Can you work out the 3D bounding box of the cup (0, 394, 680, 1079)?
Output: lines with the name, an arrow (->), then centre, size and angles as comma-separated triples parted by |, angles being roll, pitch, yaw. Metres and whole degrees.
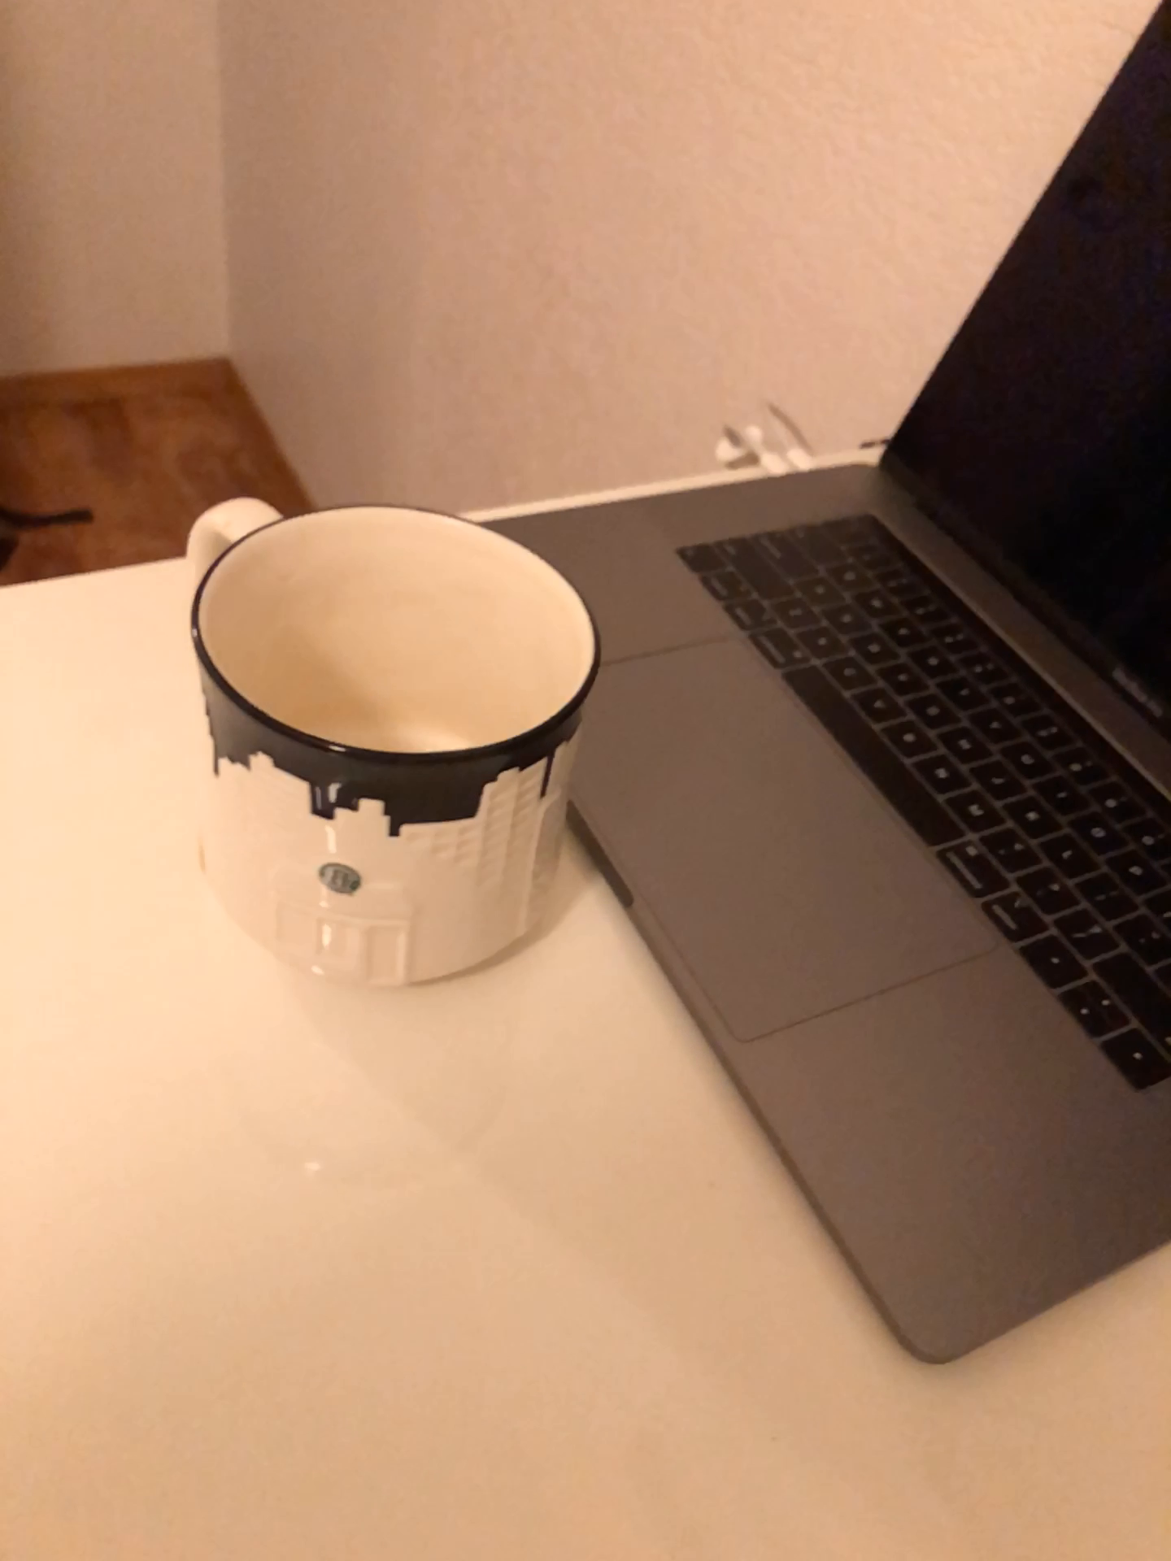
cup -> -0.074, -0.021, 0.380 | 0.150, 0.099, 0.110 | 37, 49, 24
